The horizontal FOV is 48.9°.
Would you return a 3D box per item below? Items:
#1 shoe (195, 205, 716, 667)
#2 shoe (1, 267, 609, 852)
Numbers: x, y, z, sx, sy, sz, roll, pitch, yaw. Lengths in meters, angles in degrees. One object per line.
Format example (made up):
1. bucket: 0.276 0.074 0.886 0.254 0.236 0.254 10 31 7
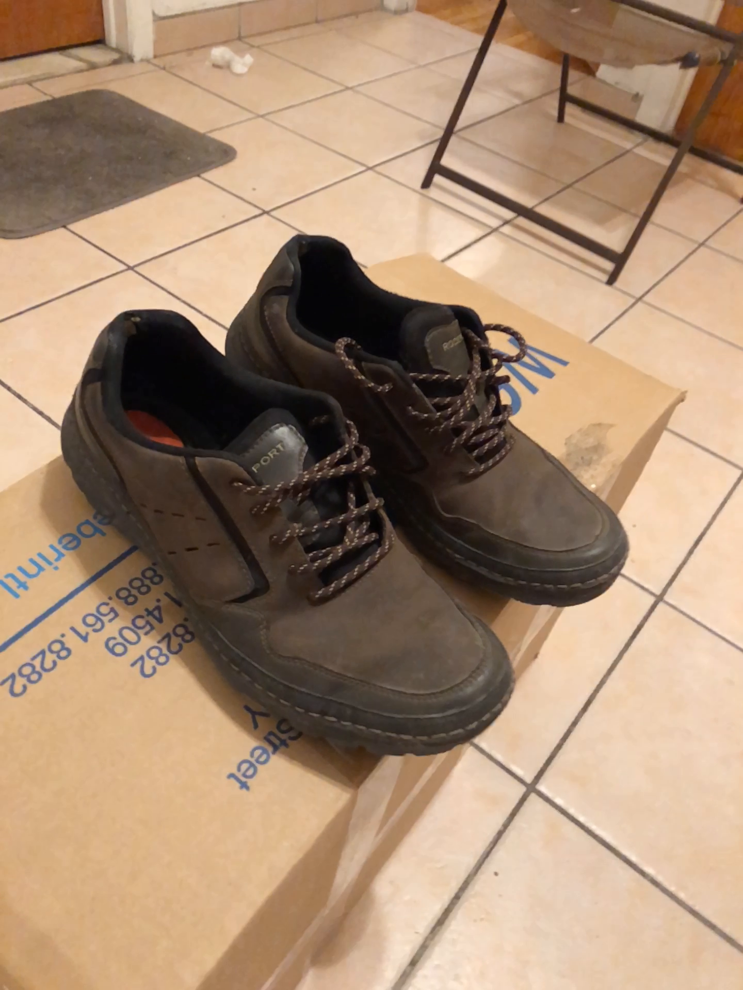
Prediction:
1. shoe: 0.031 -0.051 0.494 0.291 0.109 0.111 37 50 24
2. shoe: -0.047 0.015 0.408 0.281 0.109 0.111 38 50 23
